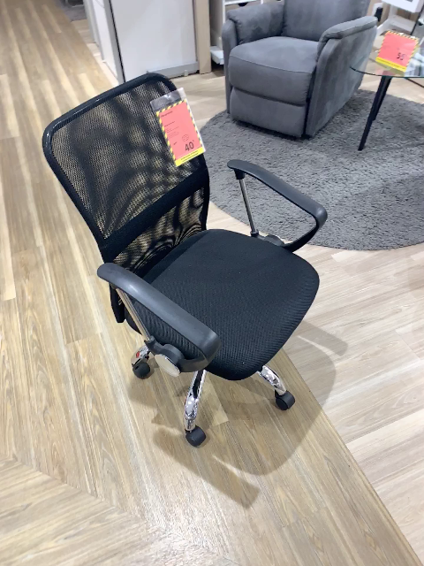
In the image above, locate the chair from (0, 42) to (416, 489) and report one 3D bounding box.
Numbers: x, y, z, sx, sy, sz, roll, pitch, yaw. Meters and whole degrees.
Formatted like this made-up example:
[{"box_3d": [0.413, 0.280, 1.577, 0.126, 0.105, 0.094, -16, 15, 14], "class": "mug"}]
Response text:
[{"box_3d": [0.018, -0.048, 1.188, 0.602, 0.866, 0.642, 27, 53, 26], "class": "chair"}]
